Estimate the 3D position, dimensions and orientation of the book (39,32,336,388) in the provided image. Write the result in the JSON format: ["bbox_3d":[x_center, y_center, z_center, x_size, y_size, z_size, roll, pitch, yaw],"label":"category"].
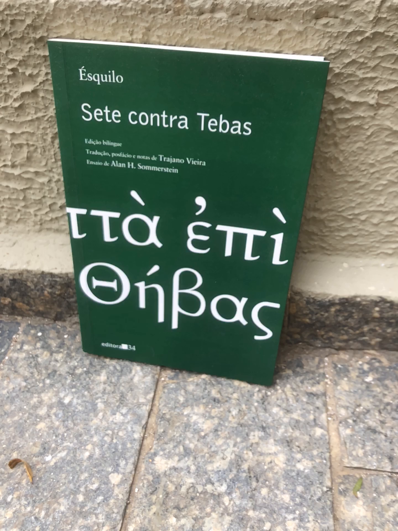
[{"bbox_3d":[-0.009,-0.022,0.258,0.140,0.195,0.020,7,29,11],"label":"book"}]
